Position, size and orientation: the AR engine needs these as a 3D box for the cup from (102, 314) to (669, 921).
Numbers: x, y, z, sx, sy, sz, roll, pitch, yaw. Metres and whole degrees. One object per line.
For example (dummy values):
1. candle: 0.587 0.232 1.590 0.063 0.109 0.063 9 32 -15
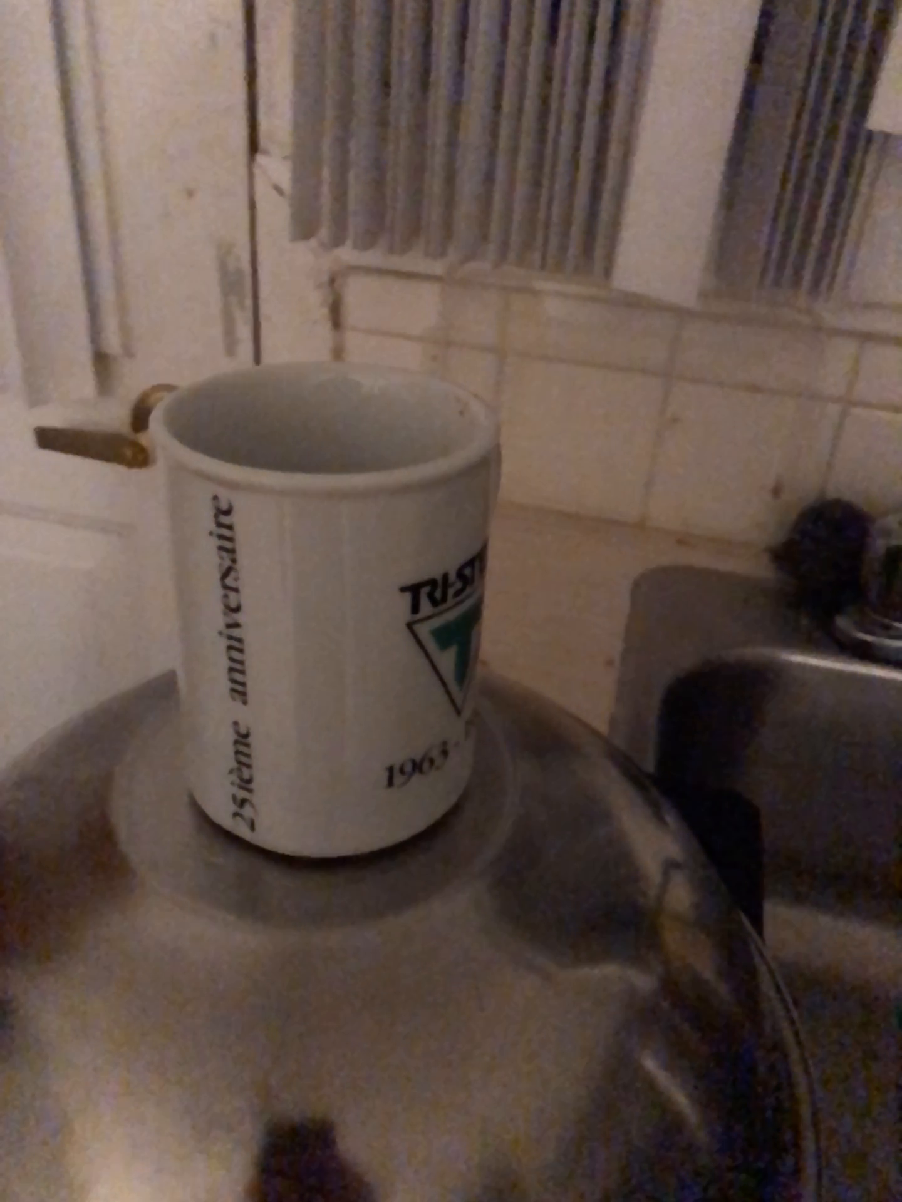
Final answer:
1. cup: -0.012 -0.006 0.256 0.070 0.099 0.117 26 37 31
